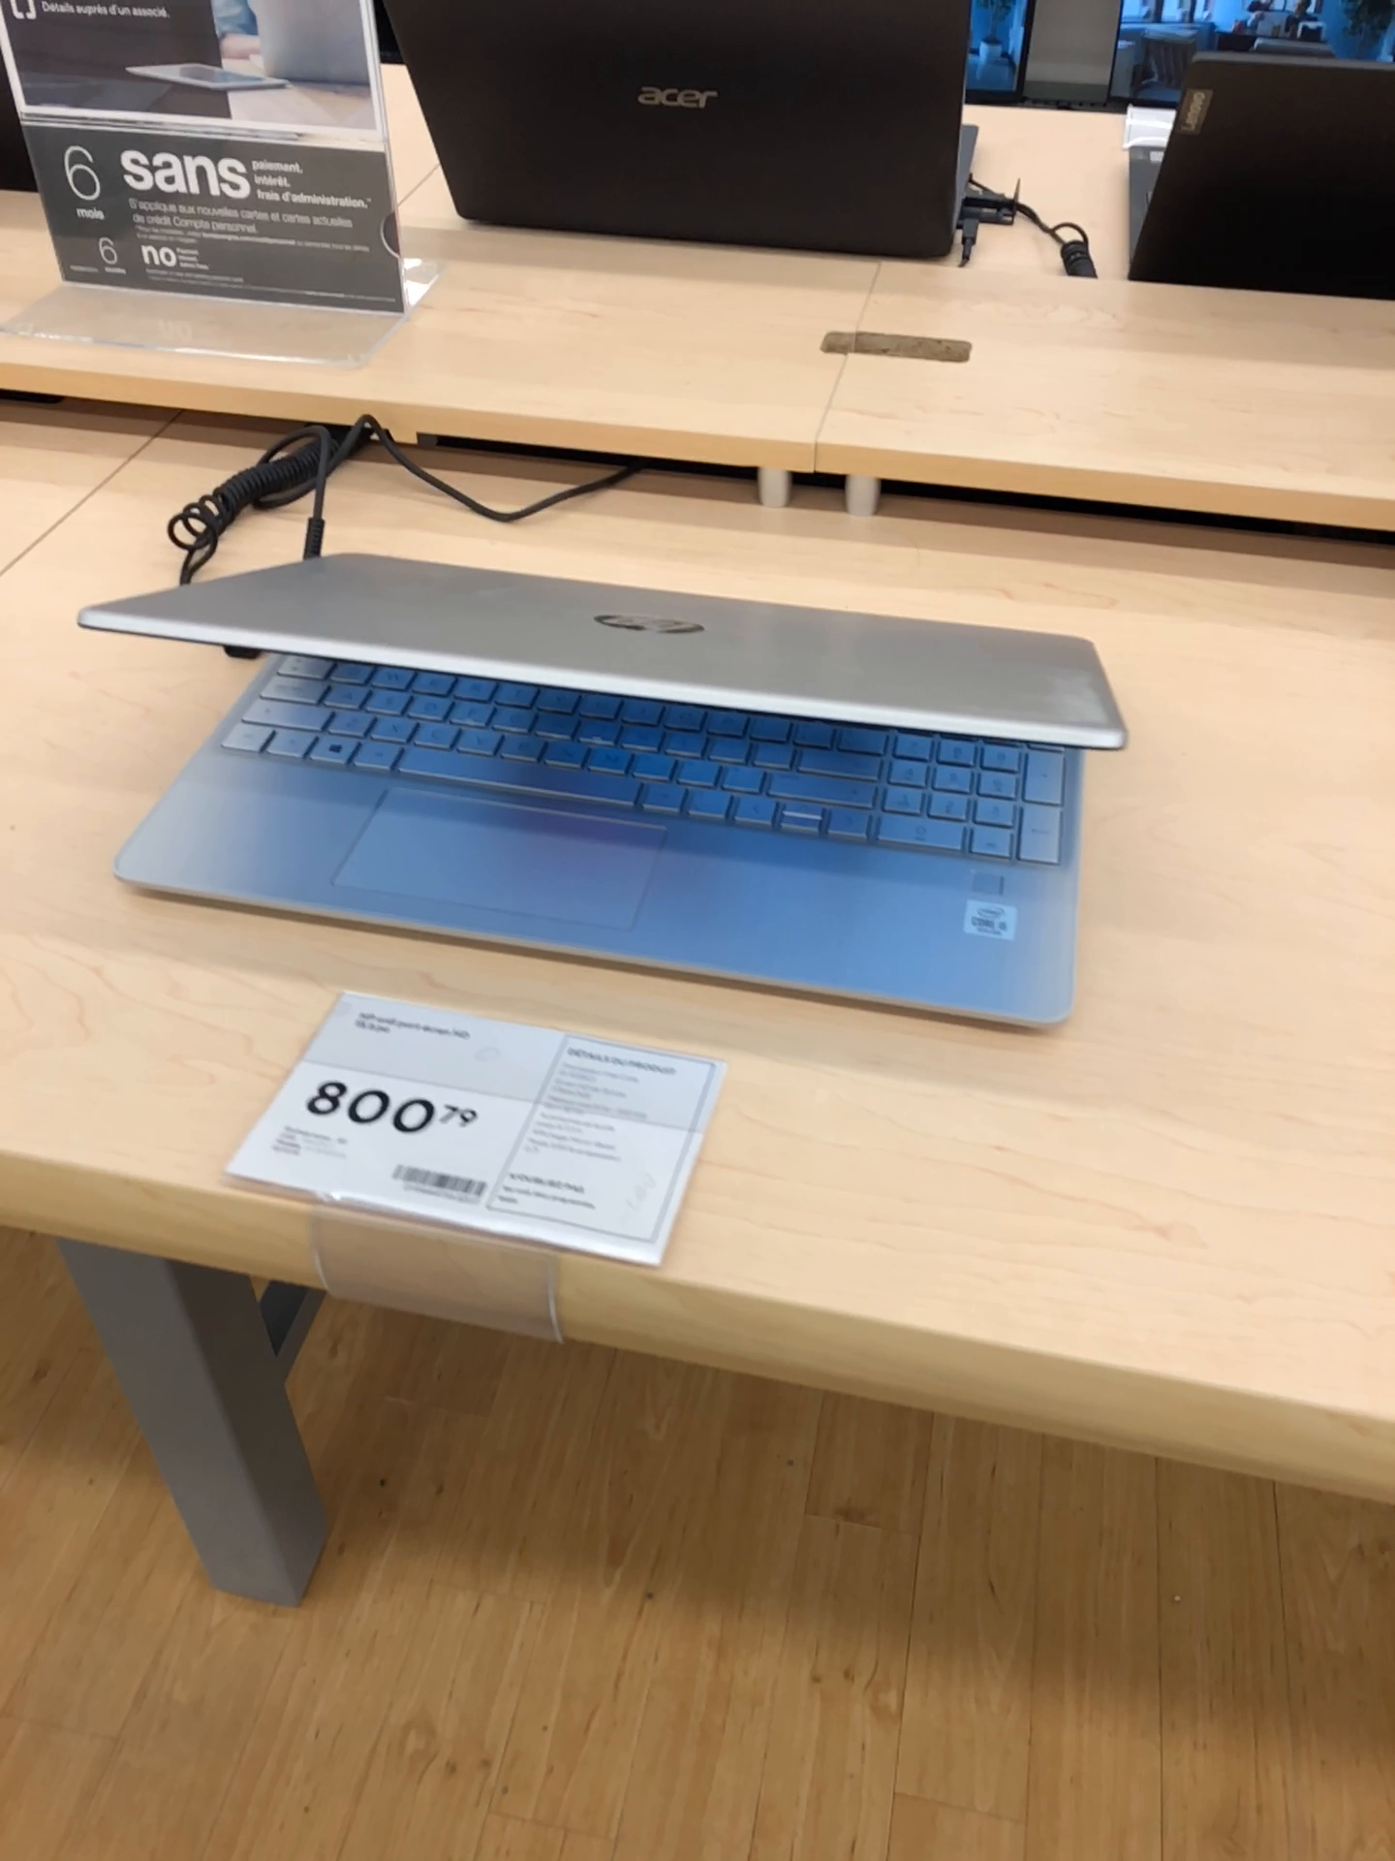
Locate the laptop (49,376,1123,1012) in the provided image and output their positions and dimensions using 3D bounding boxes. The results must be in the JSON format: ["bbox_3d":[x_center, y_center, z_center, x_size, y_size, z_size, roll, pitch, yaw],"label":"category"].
[{"bbox_3d":[-0.021,-0.105,0.584,0.340,0.086,0.225,9,45,8],"label":"laptop"}]
